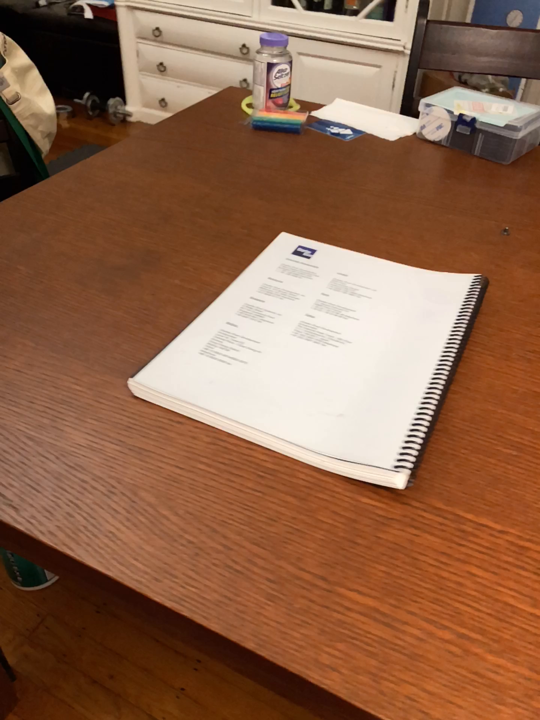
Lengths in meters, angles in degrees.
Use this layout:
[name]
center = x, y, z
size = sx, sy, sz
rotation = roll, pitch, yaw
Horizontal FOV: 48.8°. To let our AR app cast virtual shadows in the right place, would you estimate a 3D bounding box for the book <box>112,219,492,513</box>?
[book]
center = 0.050, -0.028, 0.524
size = 0.230, 0.020, 0.302
rotation = 19, 42, 18
